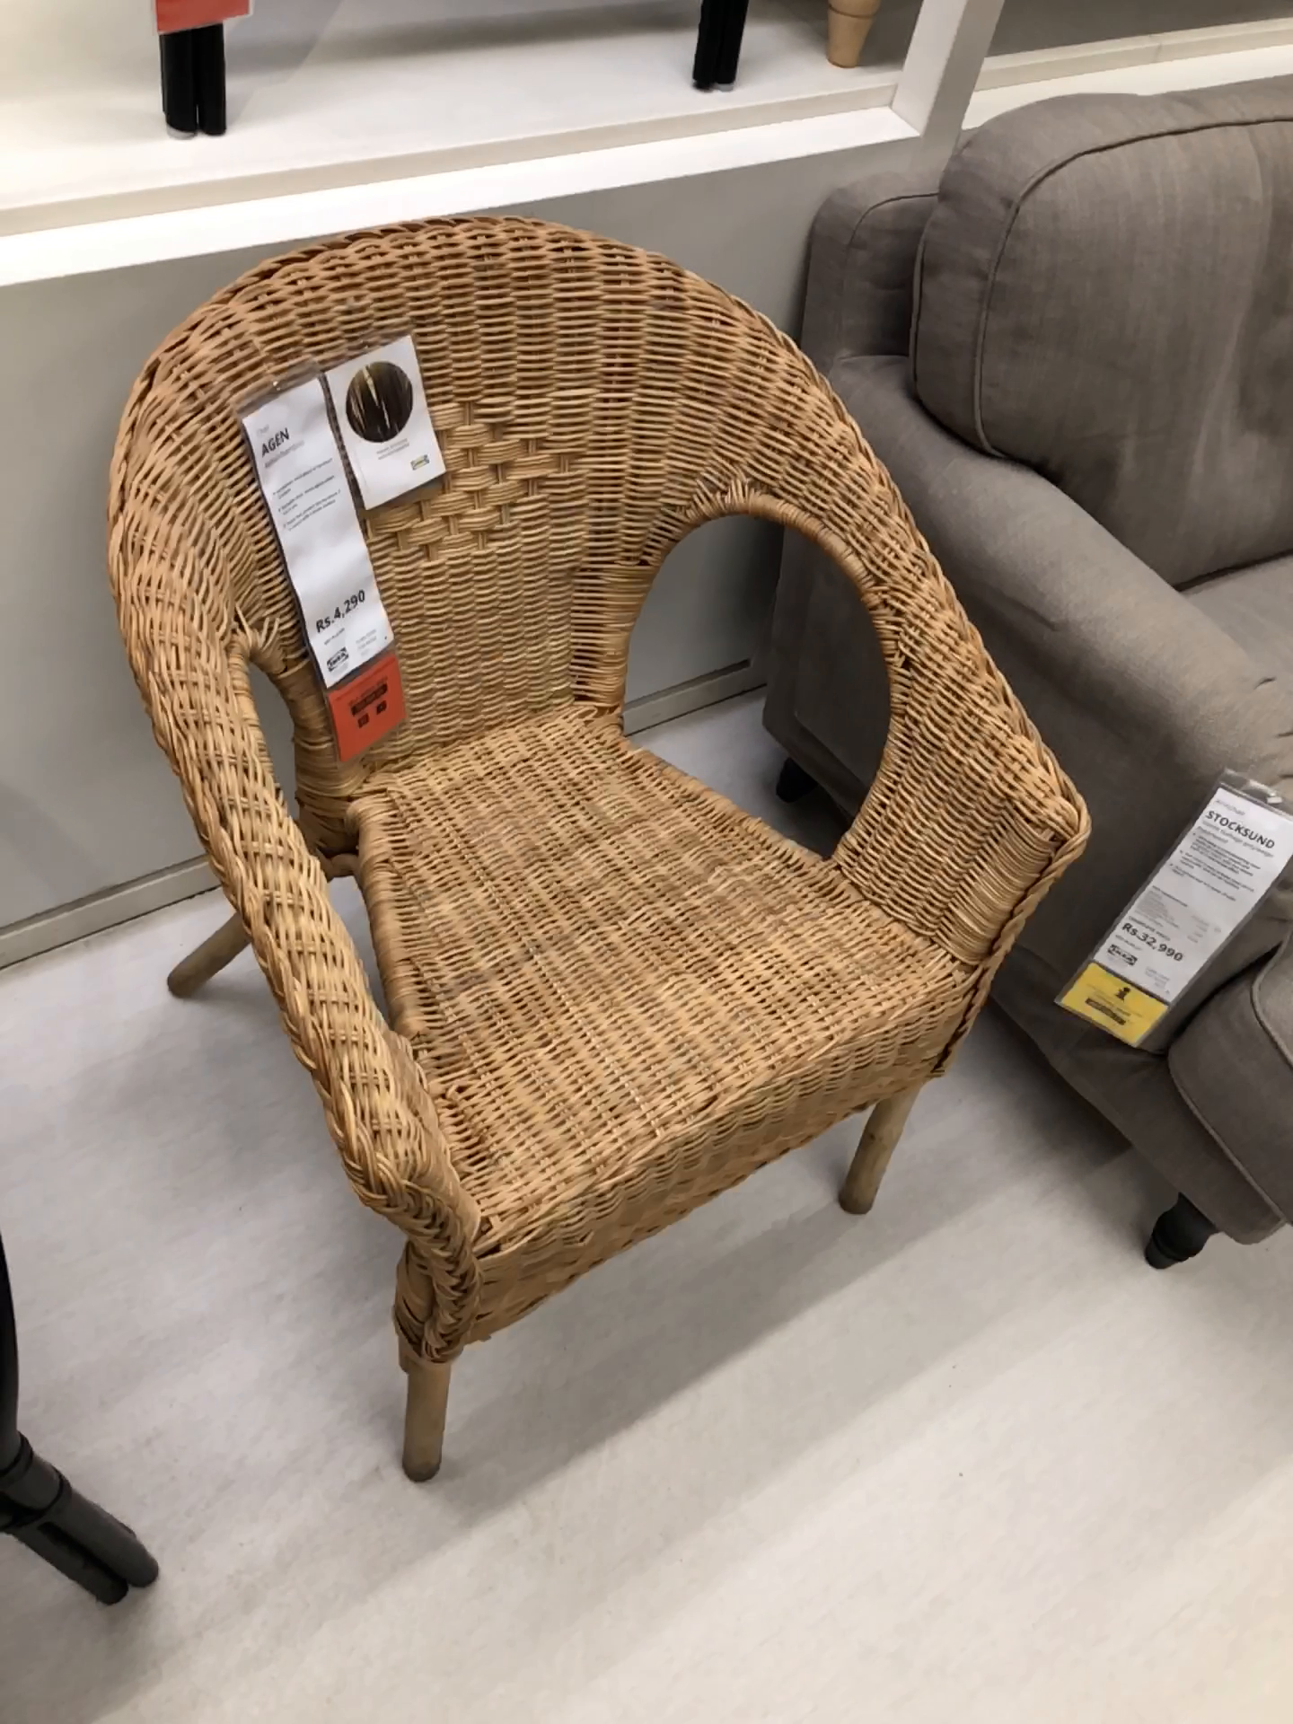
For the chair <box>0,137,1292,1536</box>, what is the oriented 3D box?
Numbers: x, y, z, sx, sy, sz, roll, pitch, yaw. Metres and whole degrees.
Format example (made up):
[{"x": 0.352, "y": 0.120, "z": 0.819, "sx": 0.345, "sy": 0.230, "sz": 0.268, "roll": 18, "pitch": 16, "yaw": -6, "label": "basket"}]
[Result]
[{"x": -0.038, "y": -0.011, "z": 1.058, "sx": 0.551, "sy": 0.696, "sz": 0.602, "roll": -23, "pitch": 60, "yaw": -26, "label": "chair"}]
